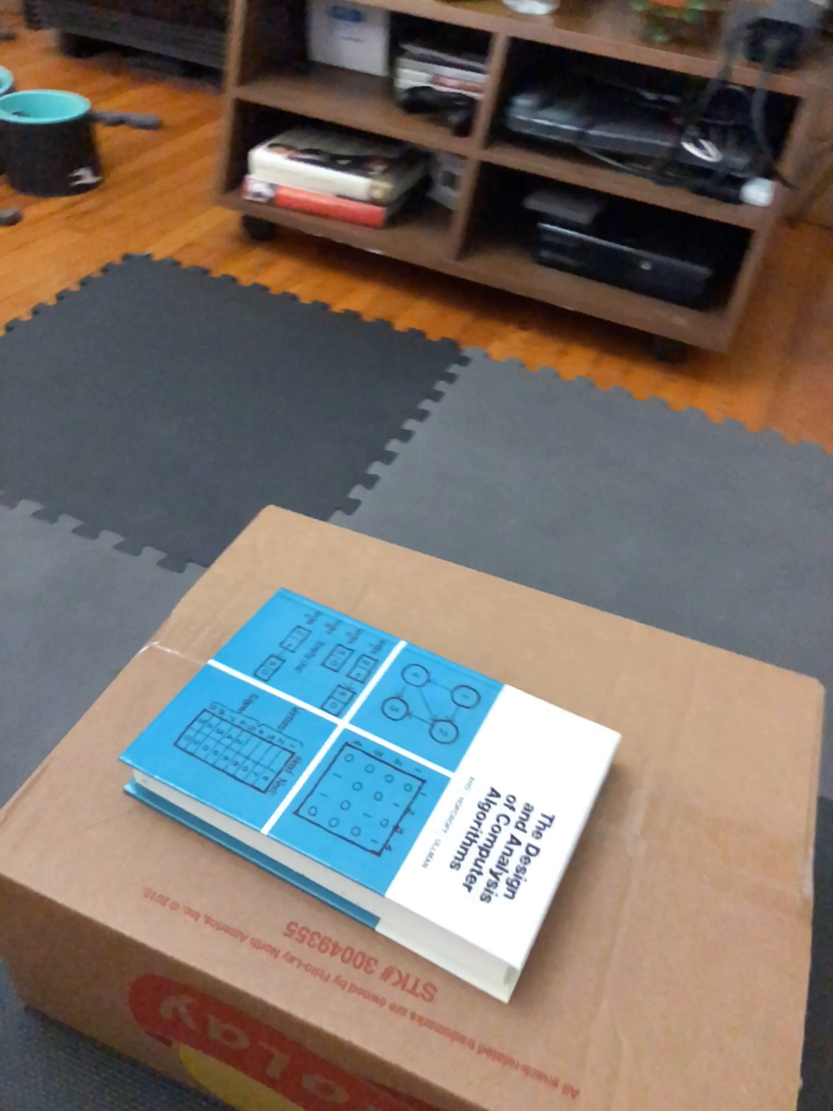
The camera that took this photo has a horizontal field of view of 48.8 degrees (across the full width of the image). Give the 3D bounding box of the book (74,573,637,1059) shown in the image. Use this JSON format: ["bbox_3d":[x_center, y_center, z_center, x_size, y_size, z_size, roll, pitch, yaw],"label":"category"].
[{"bbox_3d":[-0.028,0.128,0.537,0.260,0.040,0.191,23,44,17],"label":"book"}]
